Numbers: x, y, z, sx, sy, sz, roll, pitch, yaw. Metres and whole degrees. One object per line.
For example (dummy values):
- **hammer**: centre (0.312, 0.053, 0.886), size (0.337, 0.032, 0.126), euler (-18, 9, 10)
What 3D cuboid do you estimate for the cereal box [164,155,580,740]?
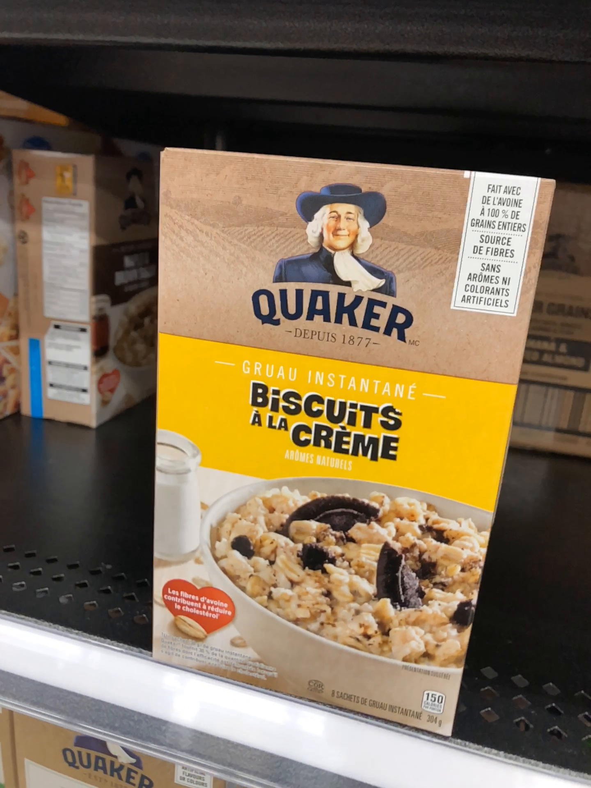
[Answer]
- **cereal box**: centre (0.023, 0.013, 0.260), size (0.120, 0.189, 0.080), euler (9, 18, 14)
